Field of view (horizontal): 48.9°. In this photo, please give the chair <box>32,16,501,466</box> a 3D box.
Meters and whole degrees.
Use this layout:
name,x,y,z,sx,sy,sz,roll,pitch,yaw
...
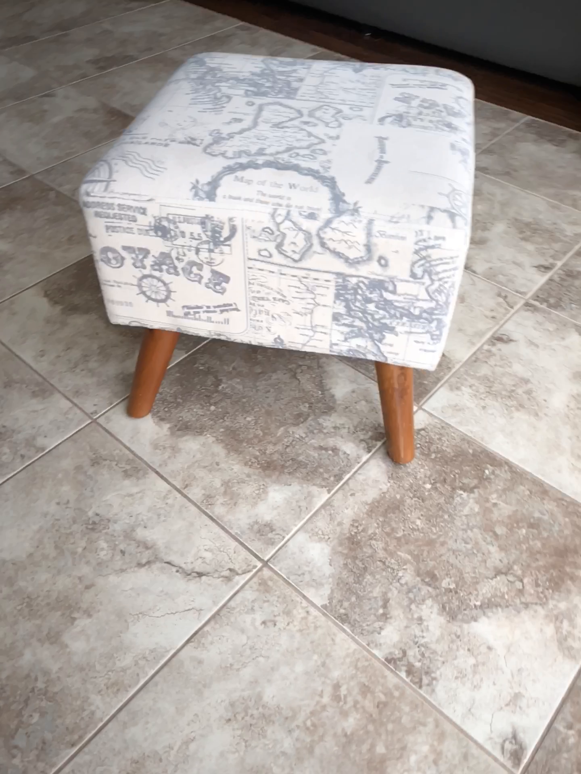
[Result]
name,x,y,z,sx,sy,sz,roll,pitch,yaw
chair,0.014,-0.216,0.833,0.420,0.319,0.471,9,47,7
